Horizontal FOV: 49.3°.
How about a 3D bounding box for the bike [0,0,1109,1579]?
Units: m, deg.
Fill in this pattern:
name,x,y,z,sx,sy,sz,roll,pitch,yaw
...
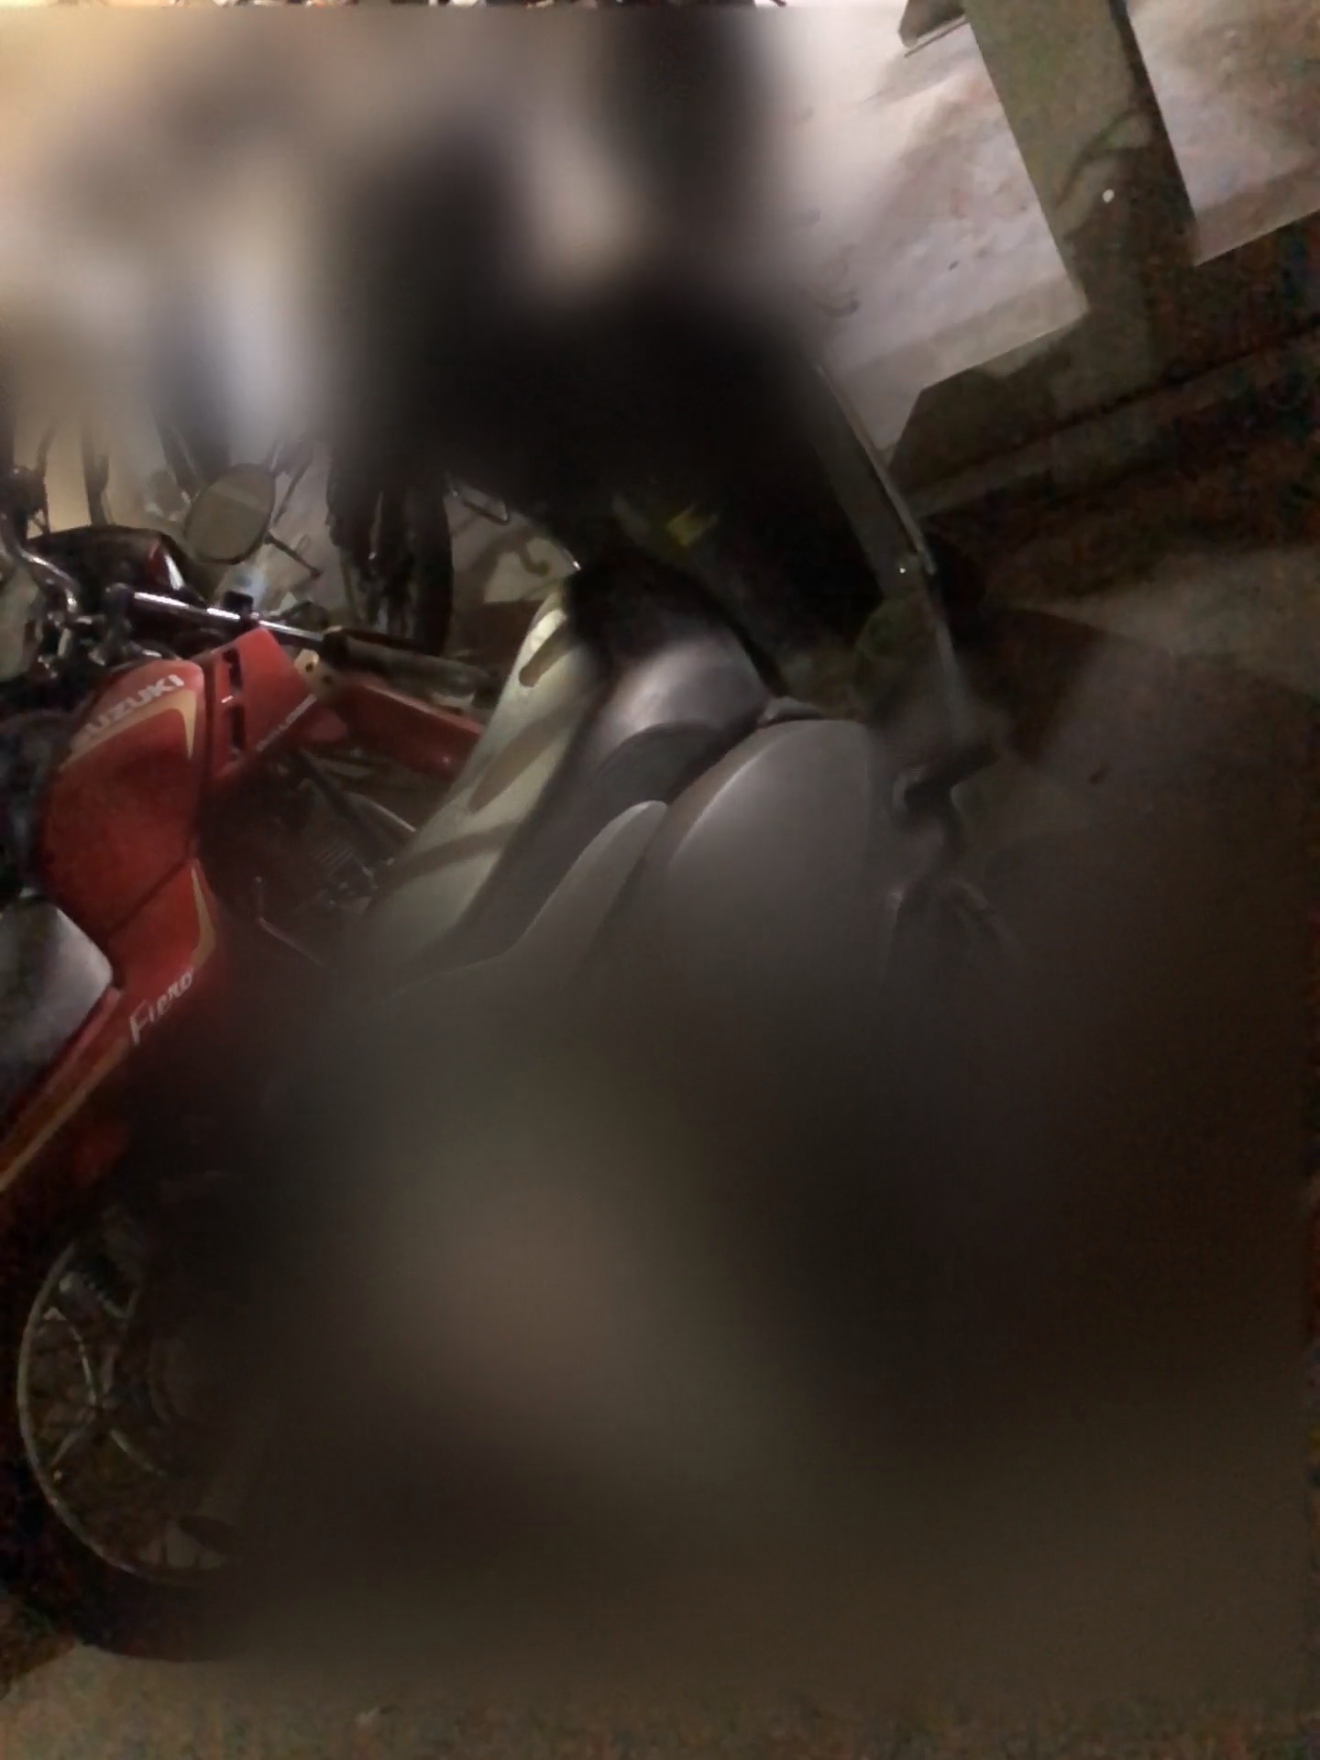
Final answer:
name,x,y,z,sx,sy,sz,roll,pitch,yaw
bike,-0.046,-0.144,1.655,0.603,1.094,1.386,-20,40,25
